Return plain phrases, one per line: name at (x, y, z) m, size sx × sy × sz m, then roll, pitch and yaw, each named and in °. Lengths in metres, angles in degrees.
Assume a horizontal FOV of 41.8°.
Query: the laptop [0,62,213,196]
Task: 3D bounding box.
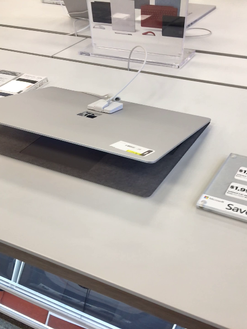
laptop at (-0.061, -0.080, 0.536) m, size 0.329 × 0.063 × 0.218 m, roll 17°, pitch 45°, yaw 22°
